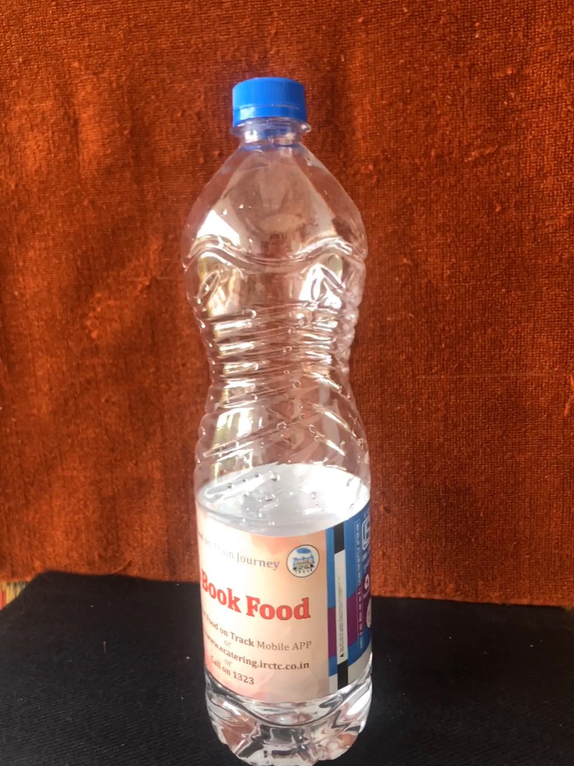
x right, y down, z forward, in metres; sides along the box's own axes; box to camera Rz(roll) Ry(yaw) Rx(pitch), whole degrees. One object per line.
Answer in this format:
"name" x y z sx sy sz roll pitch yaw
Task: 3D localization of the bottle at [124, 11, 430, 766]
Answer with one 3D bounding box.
"bottle" -0.003 0.019 0.266 0.090 0.279 0.070 10 16 41
